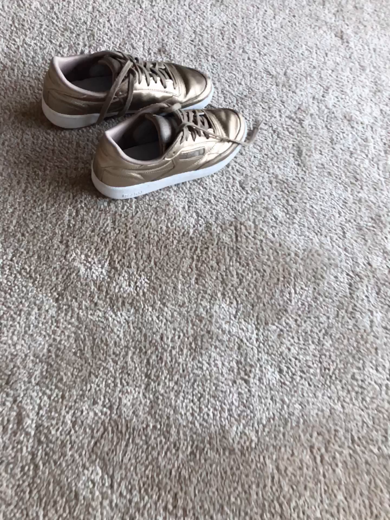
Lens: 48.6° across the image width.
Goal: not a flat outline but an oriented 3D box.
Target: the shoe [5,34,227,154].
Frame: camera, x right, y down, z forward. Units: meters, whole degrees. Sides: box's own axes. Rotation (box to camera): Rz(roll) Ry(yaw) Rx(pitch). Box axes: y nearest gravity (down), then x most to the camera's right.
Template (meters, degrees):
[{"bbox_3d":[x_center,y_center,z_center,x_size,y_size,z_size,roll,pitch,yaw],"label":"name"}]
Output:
[{"bbox_3d":[-0.107,-0.244,0.622,0.280,0.070,0.110,-16,74,-21],"label":"shoe"}]

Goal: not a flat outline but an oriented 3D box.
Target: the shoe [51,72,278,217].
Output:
[{"bbox_3d":[-0.038,-0.164,0.593,0.280,0.070,0.110,-22,76,-22],"label":"shoe"}]
